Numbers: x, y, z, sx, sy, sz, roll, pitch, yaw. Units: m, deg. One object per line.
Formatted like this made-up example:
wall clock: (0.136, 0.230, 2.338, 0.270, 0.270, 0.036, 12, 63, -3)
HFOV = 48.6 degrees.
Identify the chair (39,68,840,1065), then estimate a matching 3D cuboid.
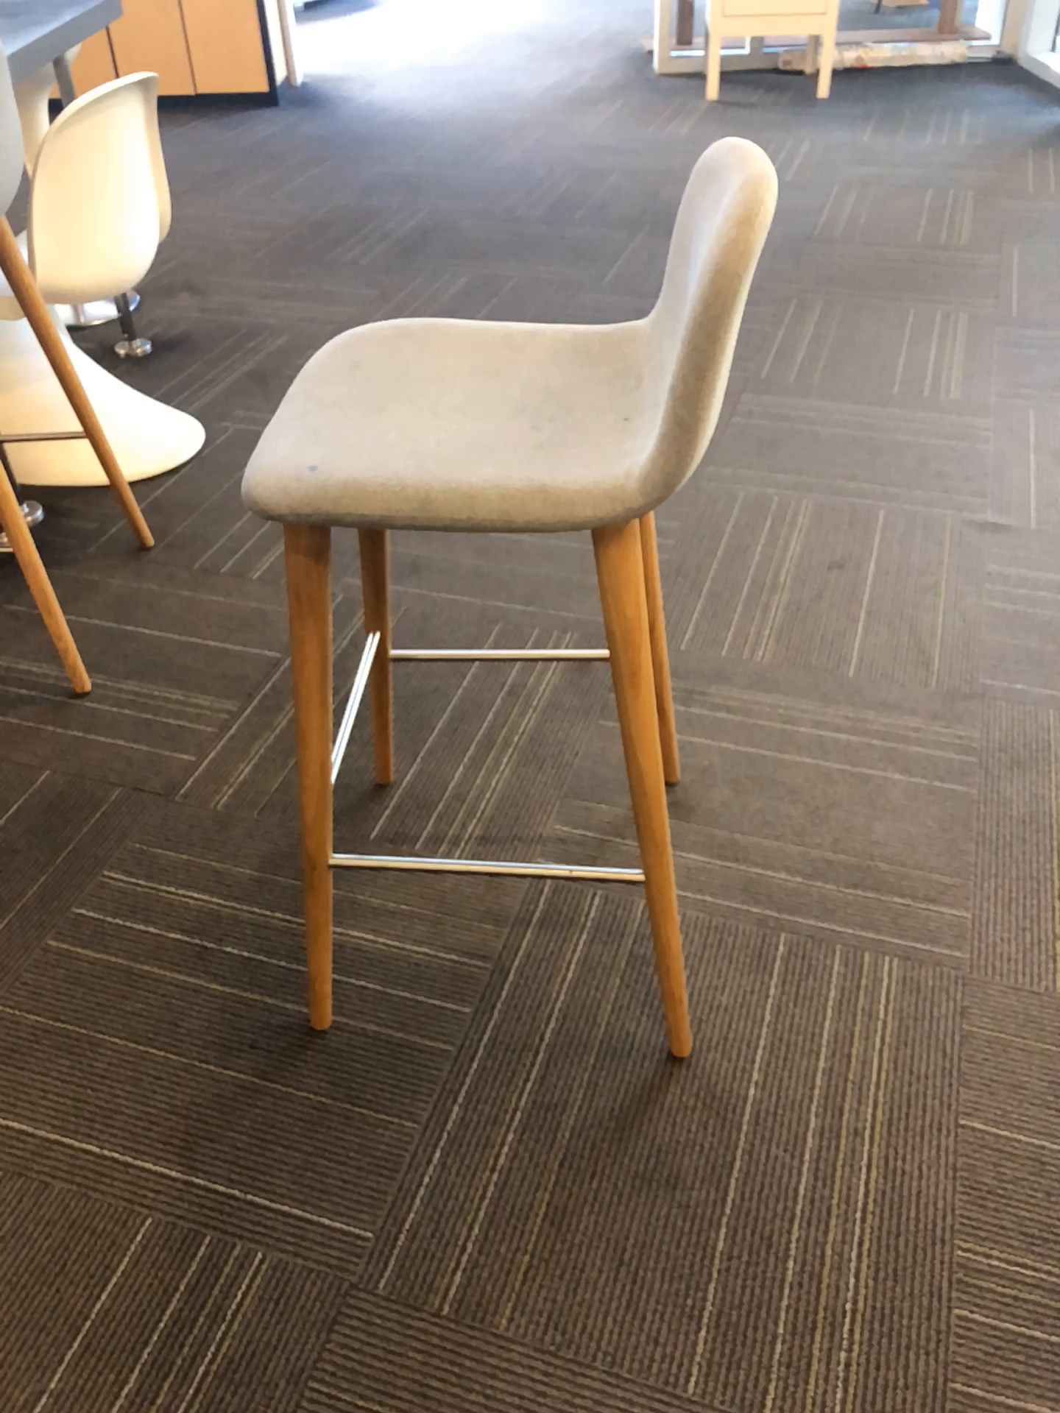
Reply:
chair: (-0.041, -0.133, 1.326, 0.560, 0.945, 0.573, -1, 36, 3)
